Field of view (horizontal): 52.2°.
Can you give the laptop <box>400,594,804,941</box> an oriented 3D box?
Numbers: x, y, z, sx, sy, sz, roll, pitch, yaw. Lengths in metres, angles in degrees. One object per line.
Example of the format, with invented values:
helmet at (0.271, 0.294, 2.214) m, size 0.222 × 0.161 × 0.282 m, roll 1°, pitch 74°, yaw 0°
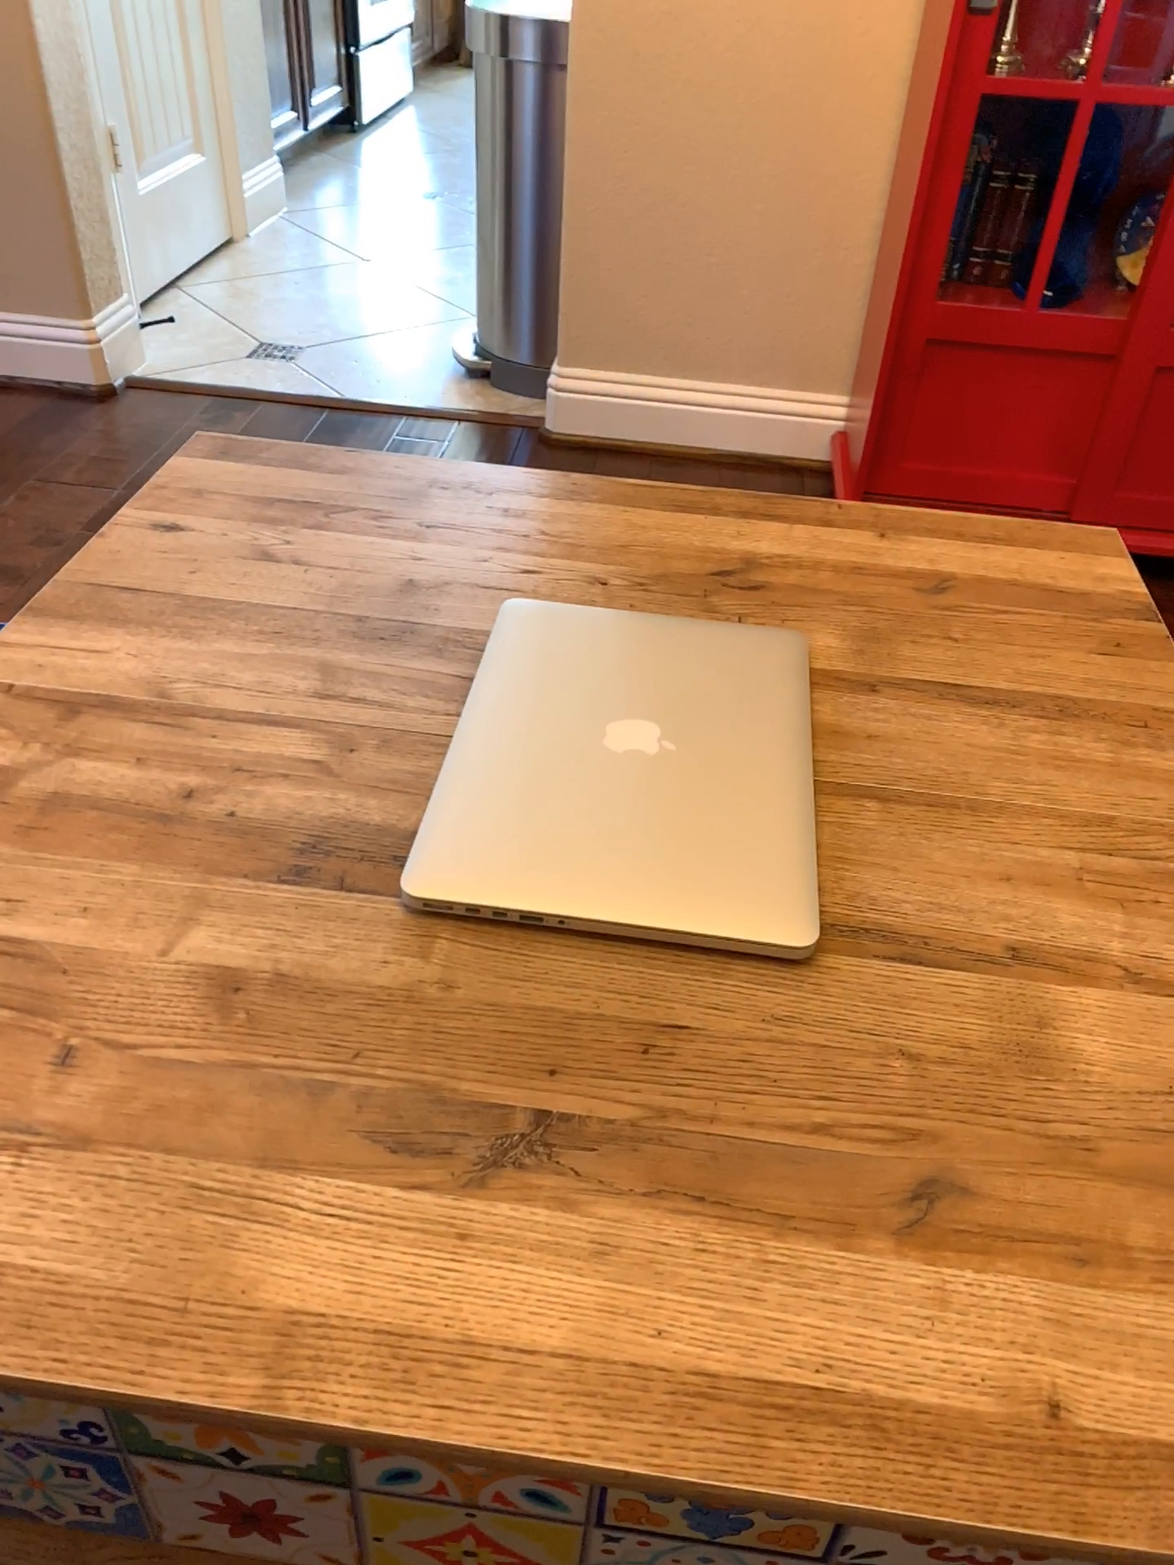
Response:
laptop at (0.026, -0.027, 0.727) m, size 0.208 × 0.002 × 0.299 m, roll 8°, pitch 38°, yaw 3°
